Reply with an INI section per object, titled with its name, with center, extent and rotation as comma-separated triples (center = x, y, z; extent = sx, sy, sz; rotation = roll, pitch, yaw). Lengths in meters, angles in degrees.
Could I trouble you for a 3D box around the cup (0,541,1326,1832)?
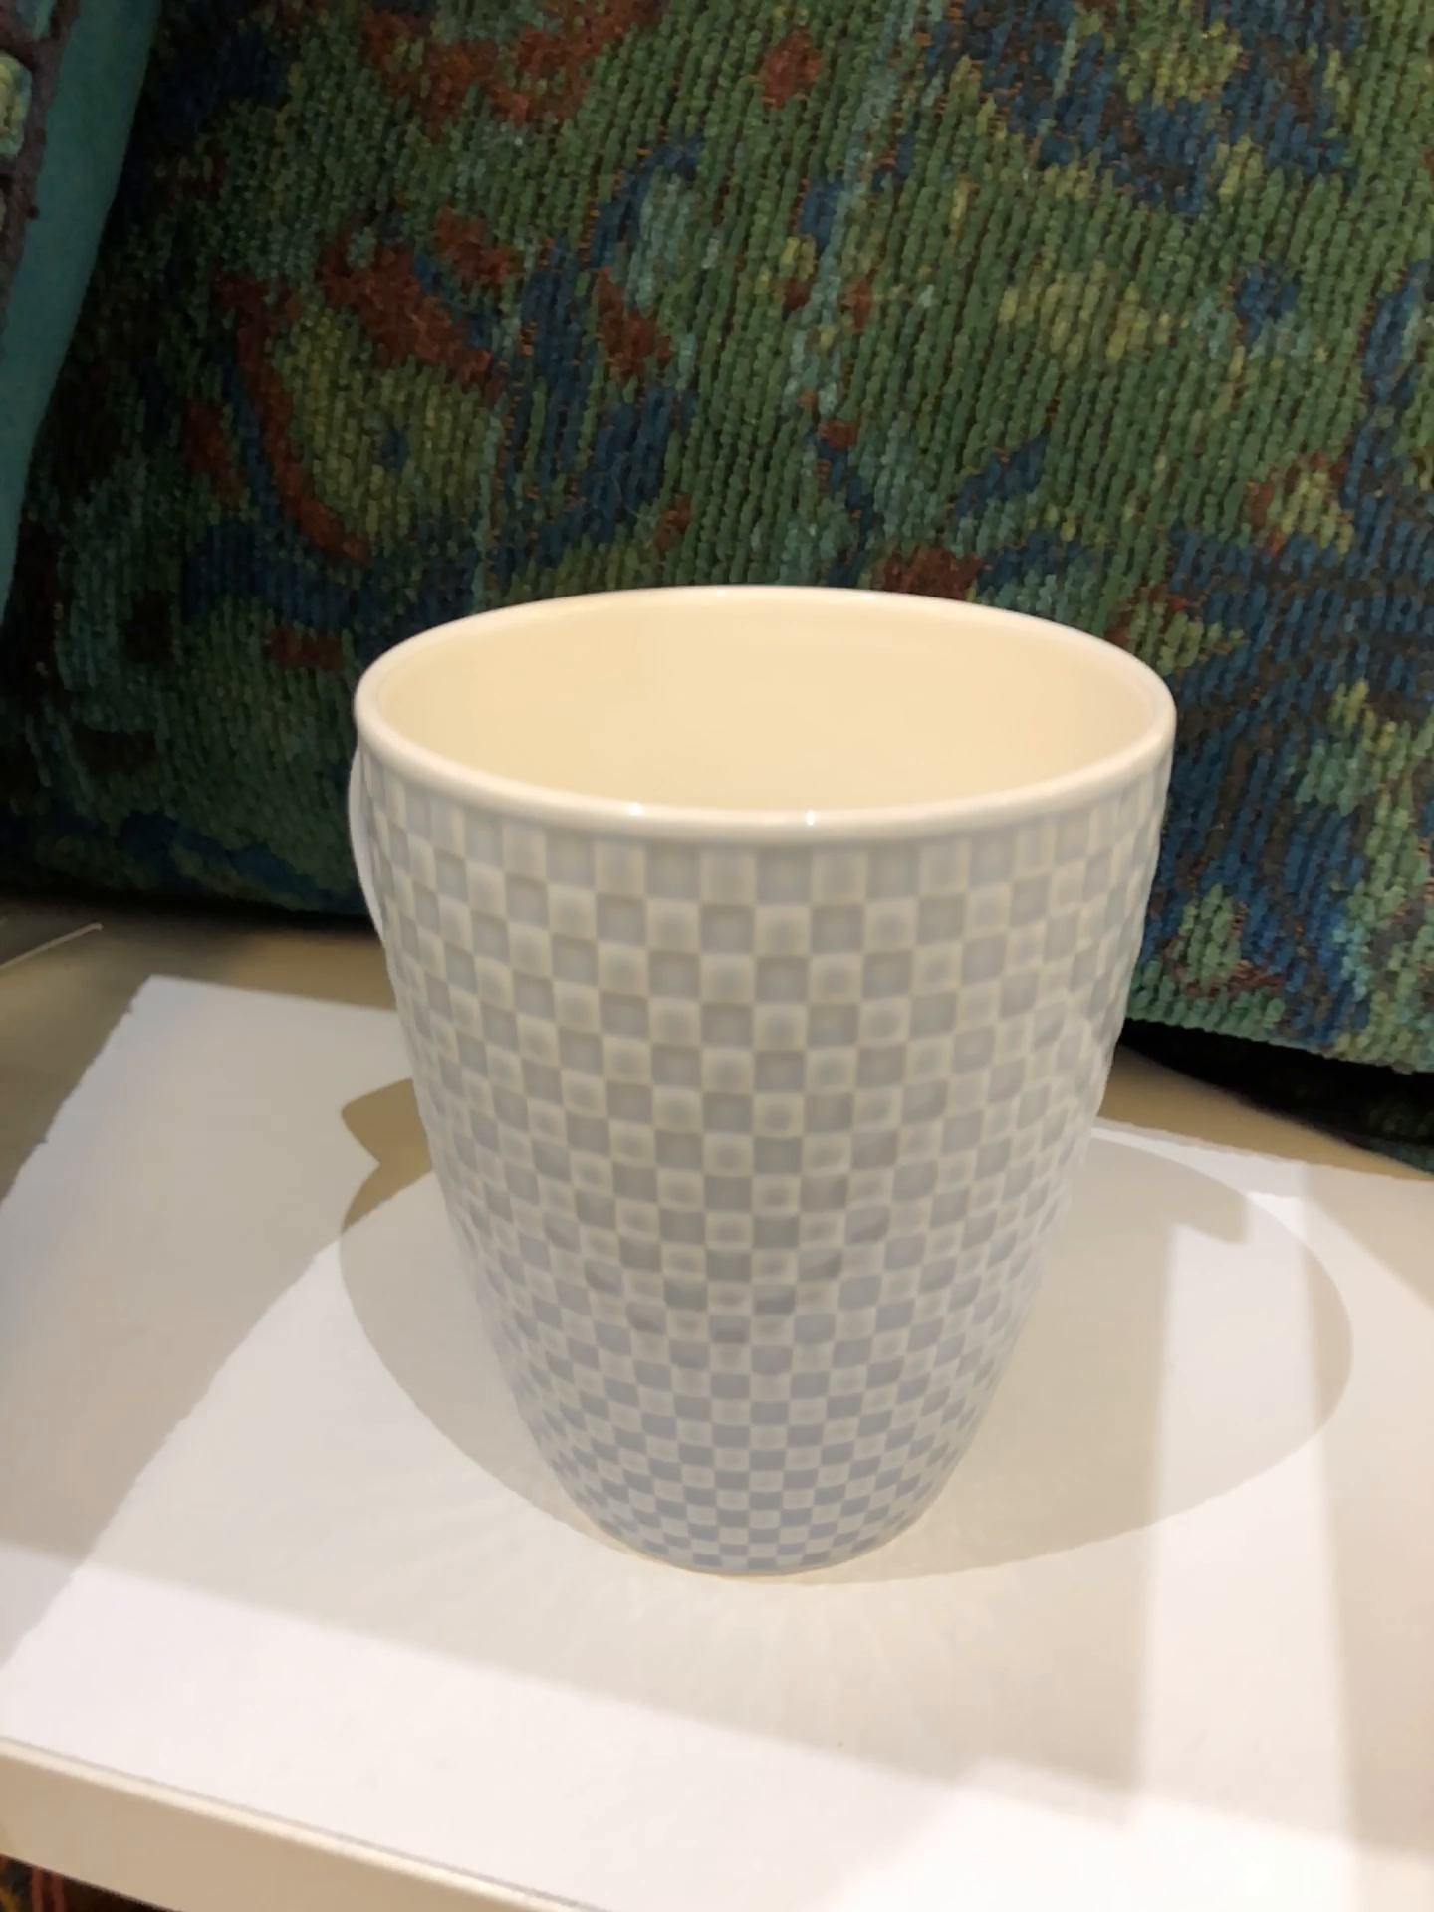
[cup]
center = -0.007, 0.008, 0.178
extent = 0.090, 0.079, 0.100
rotation = -23, 34, -39
